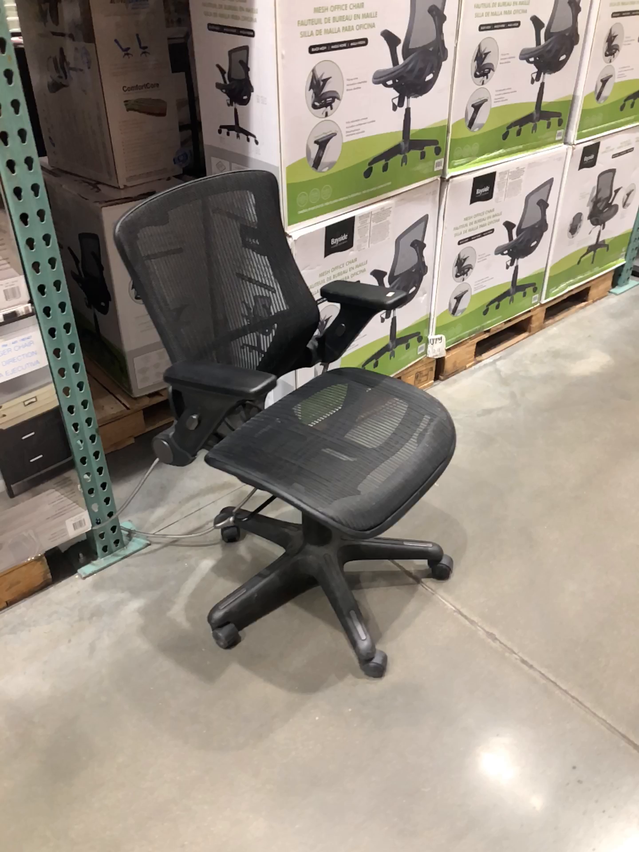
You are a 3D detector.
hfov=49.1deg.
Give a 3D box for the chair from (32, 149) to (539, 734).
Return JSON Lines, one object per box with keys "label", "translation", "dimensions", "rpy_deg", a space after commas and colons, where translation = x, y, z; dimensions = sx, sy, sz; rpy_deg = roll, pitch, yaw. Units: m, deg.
{"label": "chair", "translation": [-0.049, -0.018, 1.562], "dimensions": [0.699, 0.936, 0.636], "rpy_deg": [23, 41, 30]}
